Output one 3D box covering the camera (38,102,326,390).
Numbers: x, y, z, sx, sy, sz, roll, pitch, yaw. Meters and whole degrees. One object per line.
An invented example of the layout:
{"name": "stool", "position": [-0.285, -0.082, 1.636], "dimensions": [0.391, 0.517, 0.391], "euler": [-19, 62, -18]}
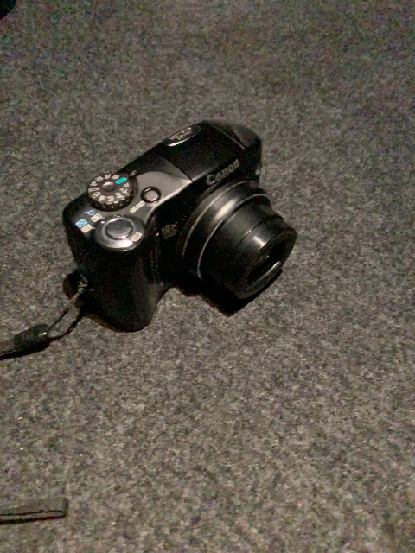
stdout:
{"name": "camera", "position": [-0.009, -0.018, 0.221], "dimensions": [0.070, 0.079, 0.108], "euler": [38, 61, 23]}
